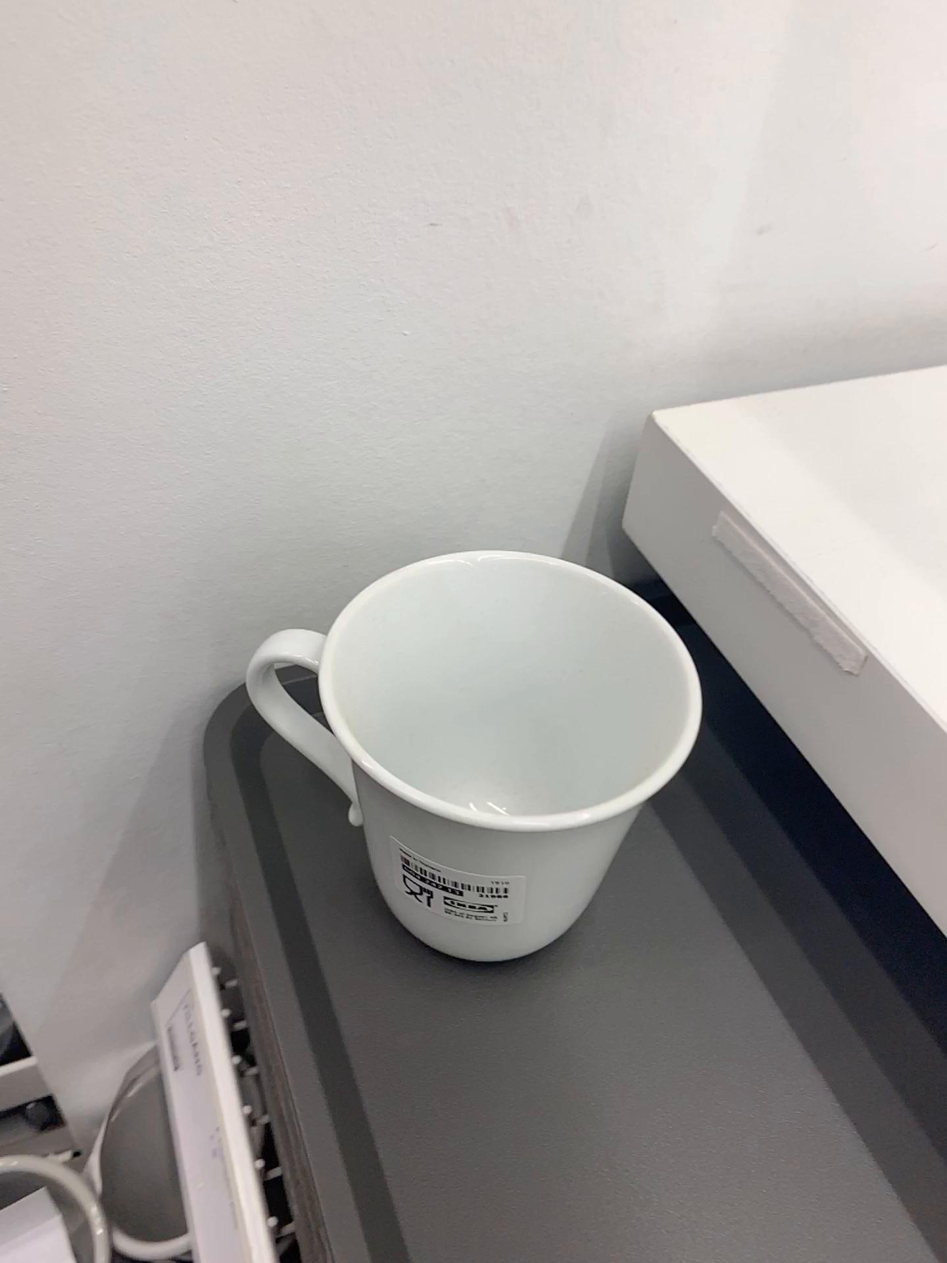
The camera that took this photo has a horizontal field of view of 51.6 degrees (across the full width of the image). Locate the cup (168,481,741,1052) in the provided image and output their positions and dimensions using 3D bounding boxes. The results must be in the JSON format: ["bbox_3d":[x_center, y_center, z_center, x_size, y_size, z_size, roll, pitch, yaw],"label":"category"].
[{"bbox_3d":[-0.001,0.037,0.292,0.130,0.100,0.100,13,43,7],"label":"cup"}]
